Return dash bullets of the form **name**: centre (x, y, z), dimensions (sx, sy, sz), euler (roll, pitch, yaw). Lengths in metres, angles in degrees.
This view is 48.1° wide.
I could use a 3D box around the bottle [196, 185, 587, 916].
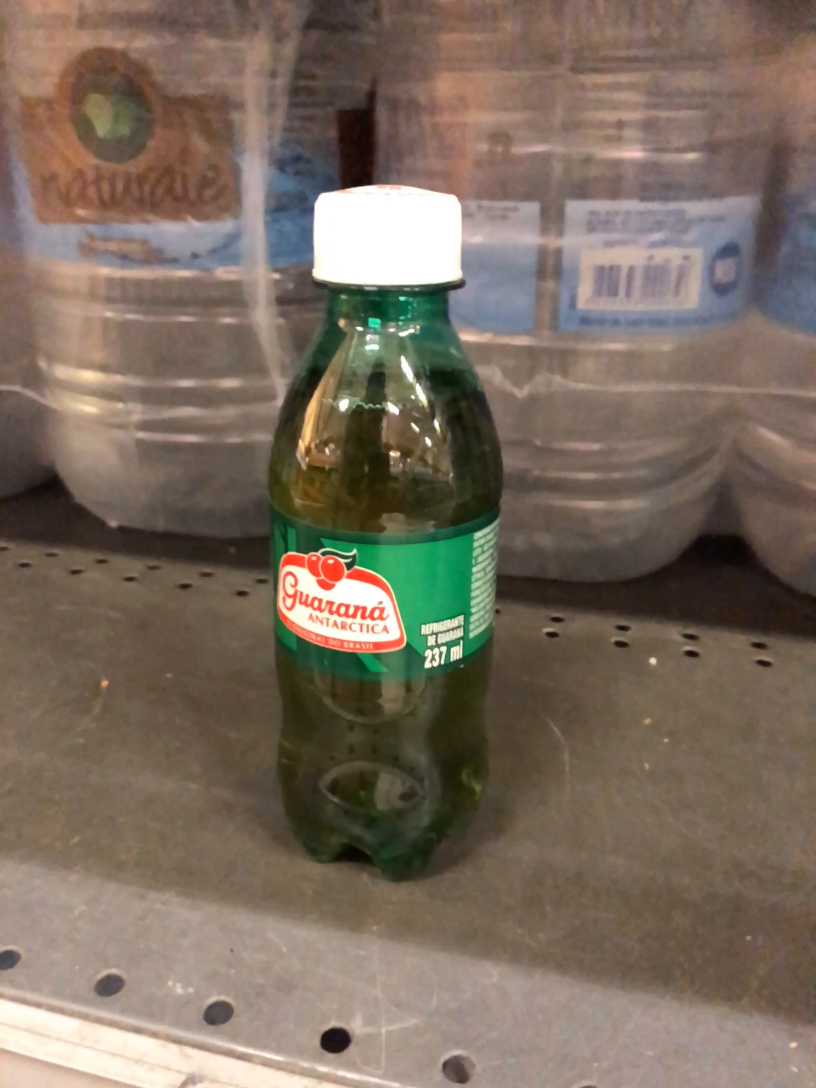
- **bottle**: centre (-0.001, -0.001, 0.211), dimensions (0.060, 0.149, 0.060), euler (1, 23, 0)
